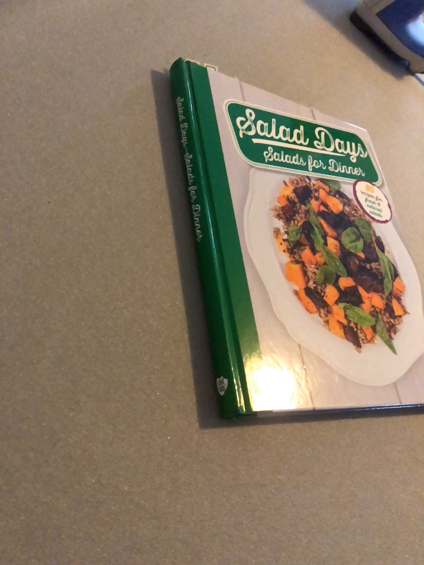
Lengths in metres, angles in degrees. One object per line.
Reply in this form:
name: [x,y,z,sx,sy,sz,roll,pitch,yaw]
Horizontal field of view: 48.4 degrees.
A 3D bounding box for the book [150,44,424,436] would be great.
book: [0.070,-0.037,0.353,0.214,0.020,0.275,7,61,-32]
